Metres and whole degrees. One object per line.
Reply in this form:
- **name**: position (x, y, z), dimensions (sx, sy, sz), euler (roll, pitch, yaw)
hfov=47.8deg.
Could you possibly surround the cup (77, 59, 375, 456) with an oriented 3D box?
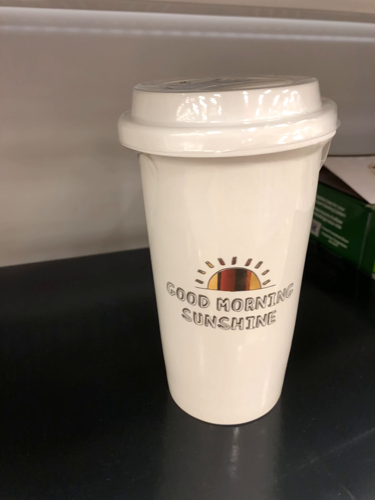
- **cup**: position (0.025, -0.009, 0.207), dimensions (0.100, 0.149, 0.100), euler (1, 26, -1)
